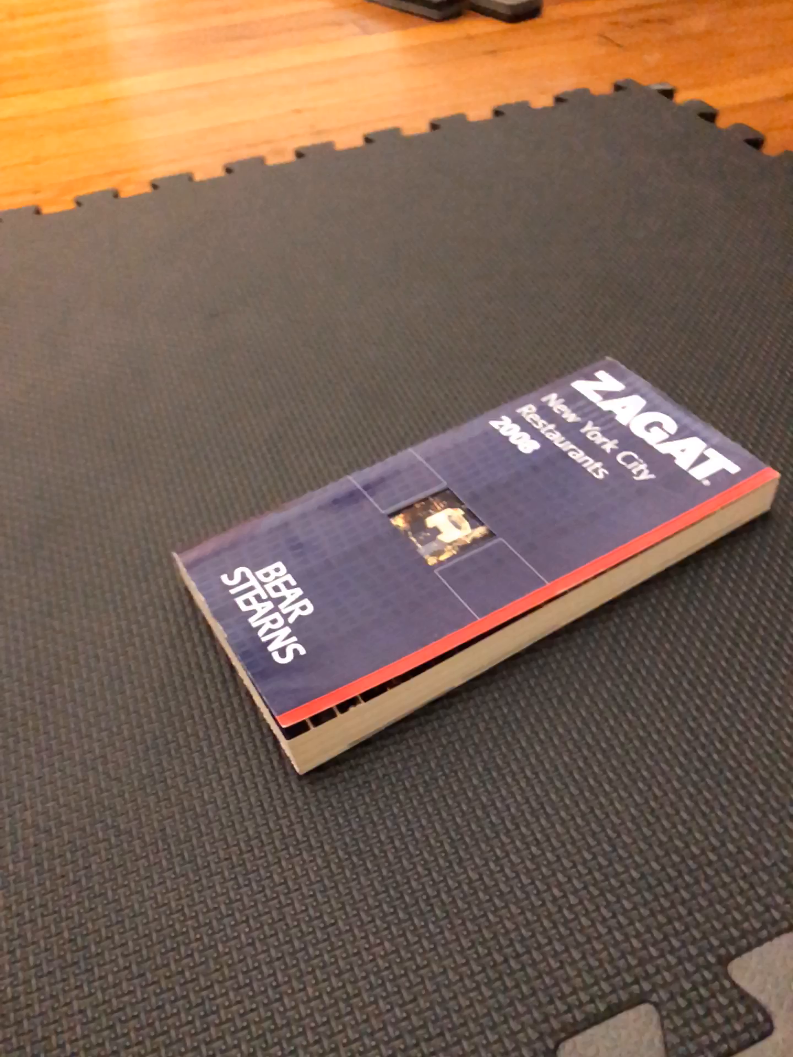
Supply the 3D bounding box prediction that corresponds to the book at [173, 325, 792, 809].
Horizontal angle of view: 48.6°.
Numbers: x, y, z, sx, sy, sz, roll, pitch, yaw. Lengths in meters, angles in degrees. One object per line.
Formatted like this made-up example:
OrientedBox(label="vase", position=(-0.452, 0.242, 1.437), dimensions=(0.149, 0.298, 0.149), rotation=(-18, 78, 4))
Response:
OrientedBox(label="book", position=(0.041, -0.002, 0.344), dimensions=(0.220, 0.030, 0.120), rotation=(-26, 49, -18))
